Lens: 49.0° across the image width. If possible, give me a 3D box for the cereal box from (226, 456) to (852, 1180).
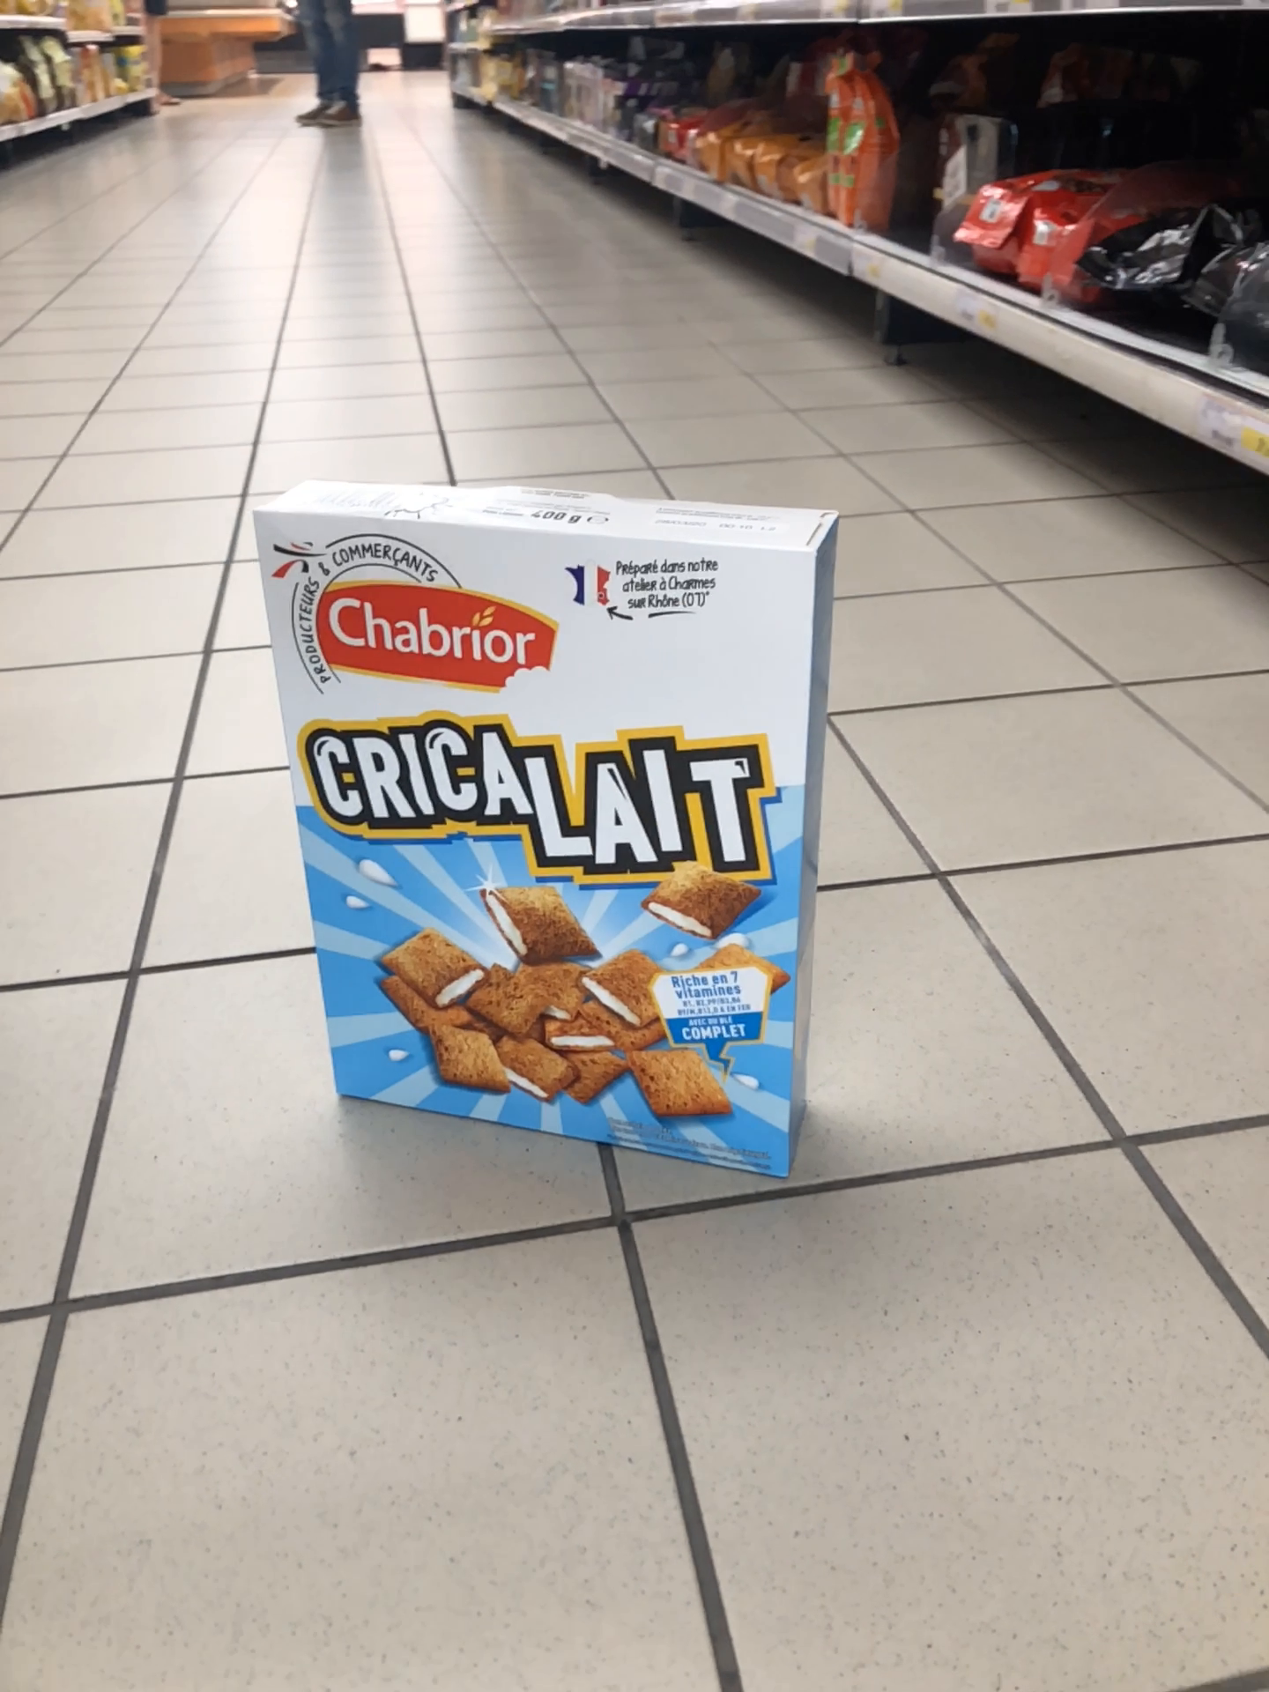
[{"bbox_3d":[-0.029,-0.008,0.514,0.200,0.249,0.050,7,30,16],"label":"cereal box"}]
